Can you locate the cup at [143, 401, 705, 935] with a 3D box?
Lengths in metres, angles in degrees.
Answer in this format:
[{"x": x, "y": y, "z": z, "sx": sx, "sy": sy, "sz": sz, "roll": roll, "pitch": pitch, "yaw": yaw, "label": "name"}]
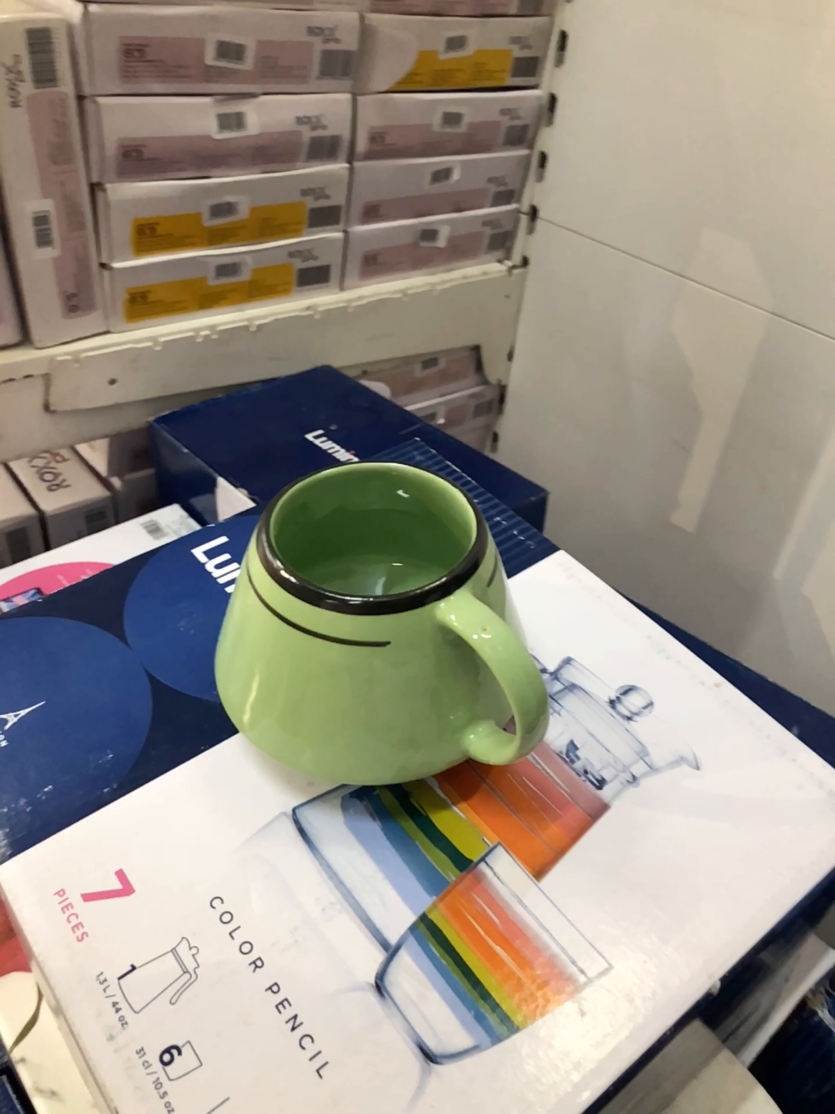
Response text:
[{"x": -0.006, "y": 0.021, "z": 0.302, "sx": 0.111, "sy": 0.069, "sz": 0.140, "roll": -20, "pitch": 44, "yaw": -32, "label": "cup"}]
